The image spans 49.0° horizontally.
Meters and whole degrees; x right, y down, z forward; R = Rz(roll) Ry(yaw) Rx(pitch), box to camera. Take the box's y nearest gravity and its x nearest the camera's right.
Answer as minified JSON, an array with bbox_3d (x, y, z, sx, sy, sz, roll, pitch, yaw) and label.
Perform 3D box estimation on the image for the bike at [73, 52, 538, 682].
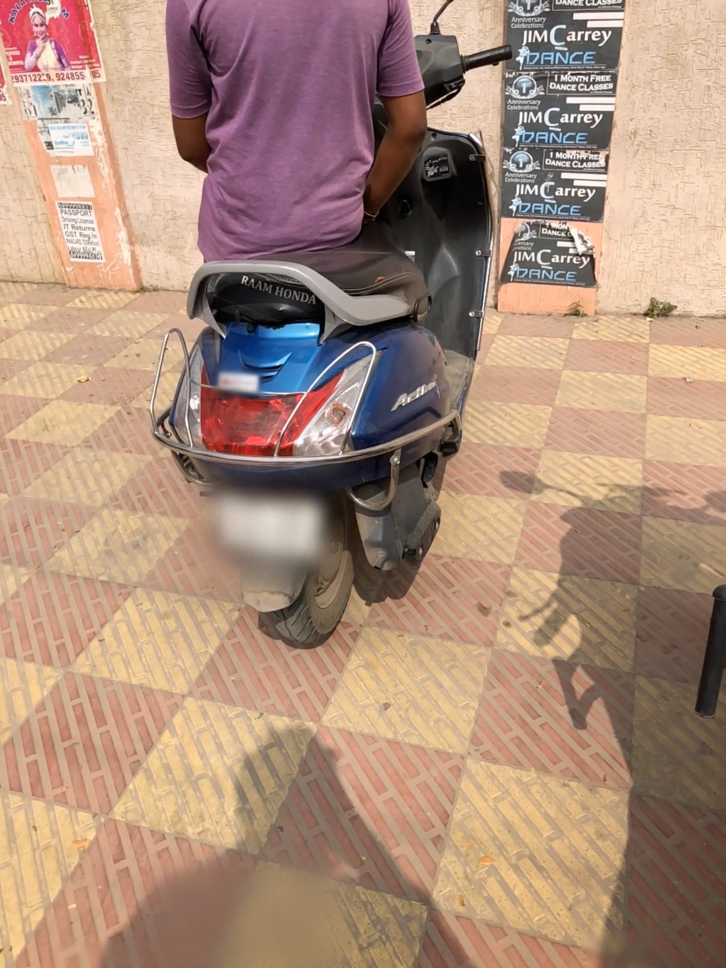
[{"bbox_3d":[0.091,-0.490,2.098,0.622,1.038,1.712,4,31,12],"label":"bike"}]
